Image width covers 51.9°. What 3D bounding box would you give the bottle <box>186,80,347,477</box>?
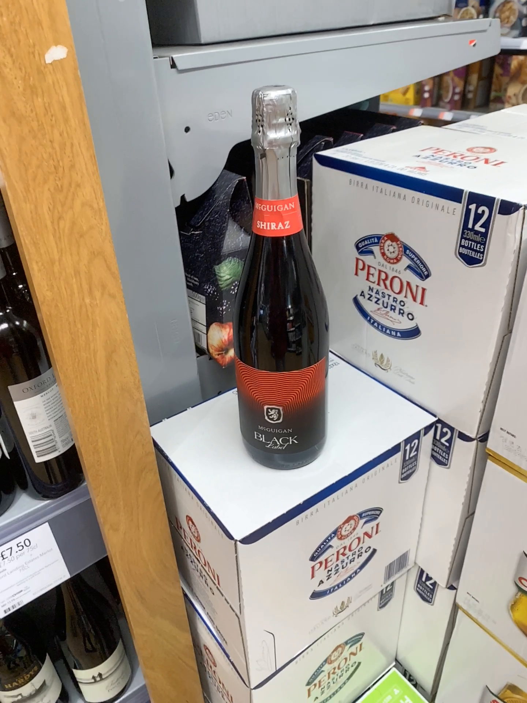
[{"bbox_3d":[0.014,-0.045,0.425,0.090,0.289,0.095,-3,31,2],"label":"bottle"}]
